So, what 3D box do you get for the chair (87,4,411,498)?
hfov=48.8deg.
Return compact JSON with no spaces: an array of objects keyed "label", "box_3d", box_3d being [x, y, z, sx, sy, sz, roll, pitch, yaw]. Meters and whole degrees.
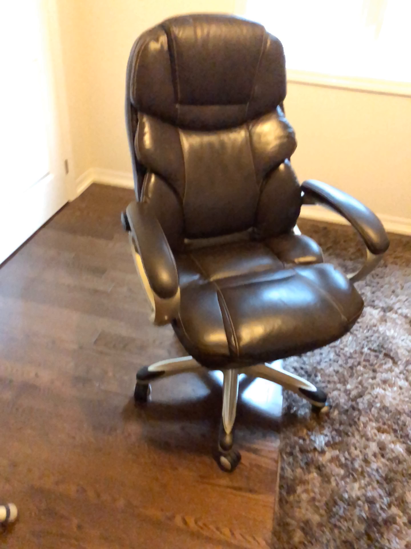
[{"label":"chair","box_3d":[0.113,-0.090,1.350,0.730,1.135,0.743,-8,37,-18]}]
